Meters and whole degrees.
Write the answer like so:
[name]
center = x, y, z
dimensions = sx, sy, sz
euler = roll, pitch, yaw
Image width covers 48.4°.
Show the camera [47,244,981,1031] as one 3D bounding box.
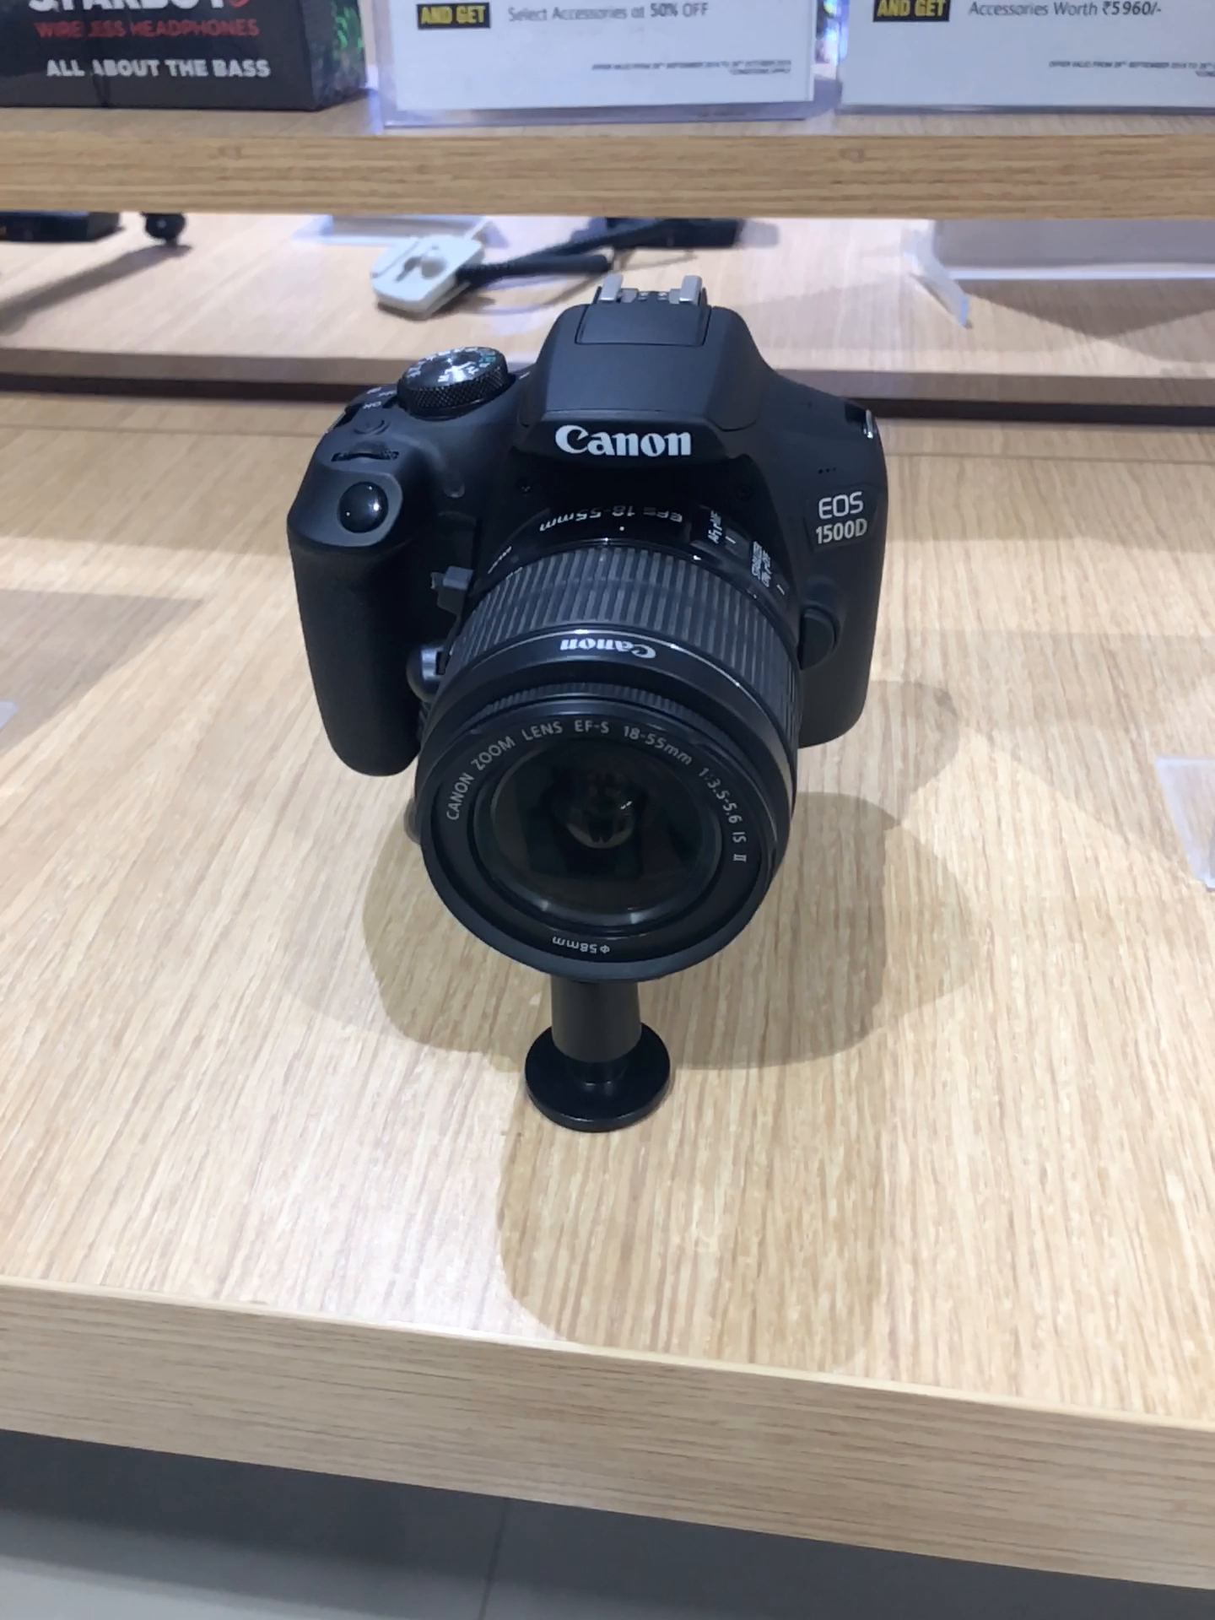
[camera]
center = -0.004, -0.045, 0.266
dimensions = 0.130, 0.089, 0.141
euler = 4, 37, 8
